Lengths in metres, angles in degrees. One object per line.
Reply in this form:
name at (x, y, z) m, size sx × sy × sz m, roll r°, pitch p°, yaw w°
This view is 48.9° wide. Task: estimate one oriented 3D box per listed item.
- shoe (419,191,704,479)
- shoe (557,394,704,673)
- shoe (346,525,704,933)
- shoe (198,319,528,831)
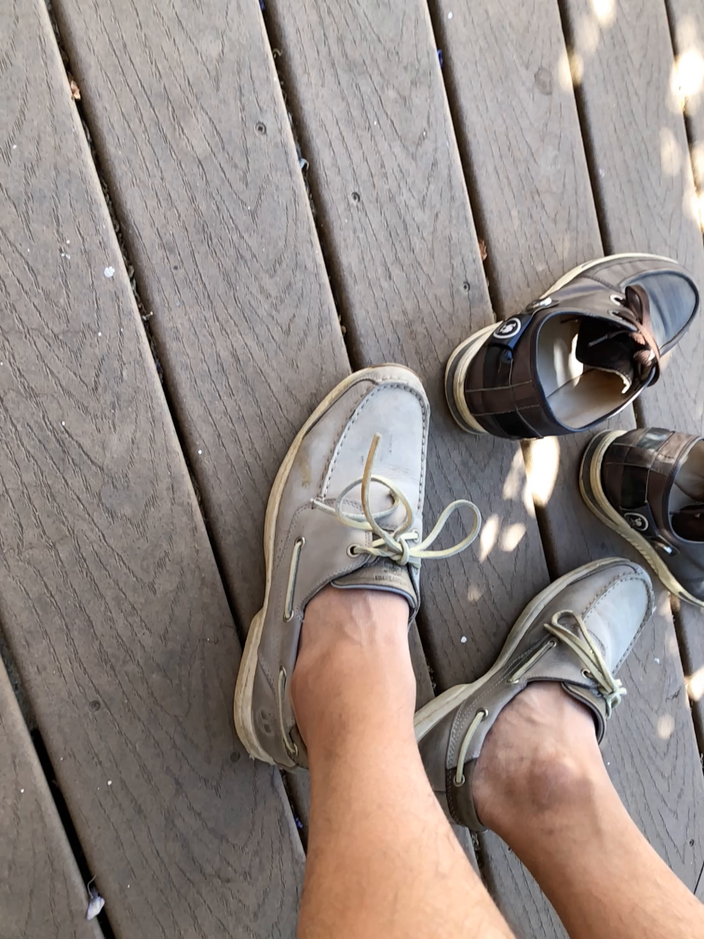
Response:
shoe at (0.219, -0.113, 0.632) m, size 0.304 × 0.111 × 0.110 m, roll -30°, pitch 107°, yaw -25°
shoe at (0.345, 0.062, 0.712) m, size 0.304 × 0.111 × 0.110 m, roll 35°, pitch 76°, yaw -27°
shoe at (0.160, 0.185, 0.623) m, size 0.304 × 0.111 × 0.110 m, roll -38°, pitch 110°, yaw -22°
shoe at (0.006, 0.067, 0.529) m, size 0.111 × 0.111 × 0.303 m, roll 18°, pitch 84°, yaw -29°
